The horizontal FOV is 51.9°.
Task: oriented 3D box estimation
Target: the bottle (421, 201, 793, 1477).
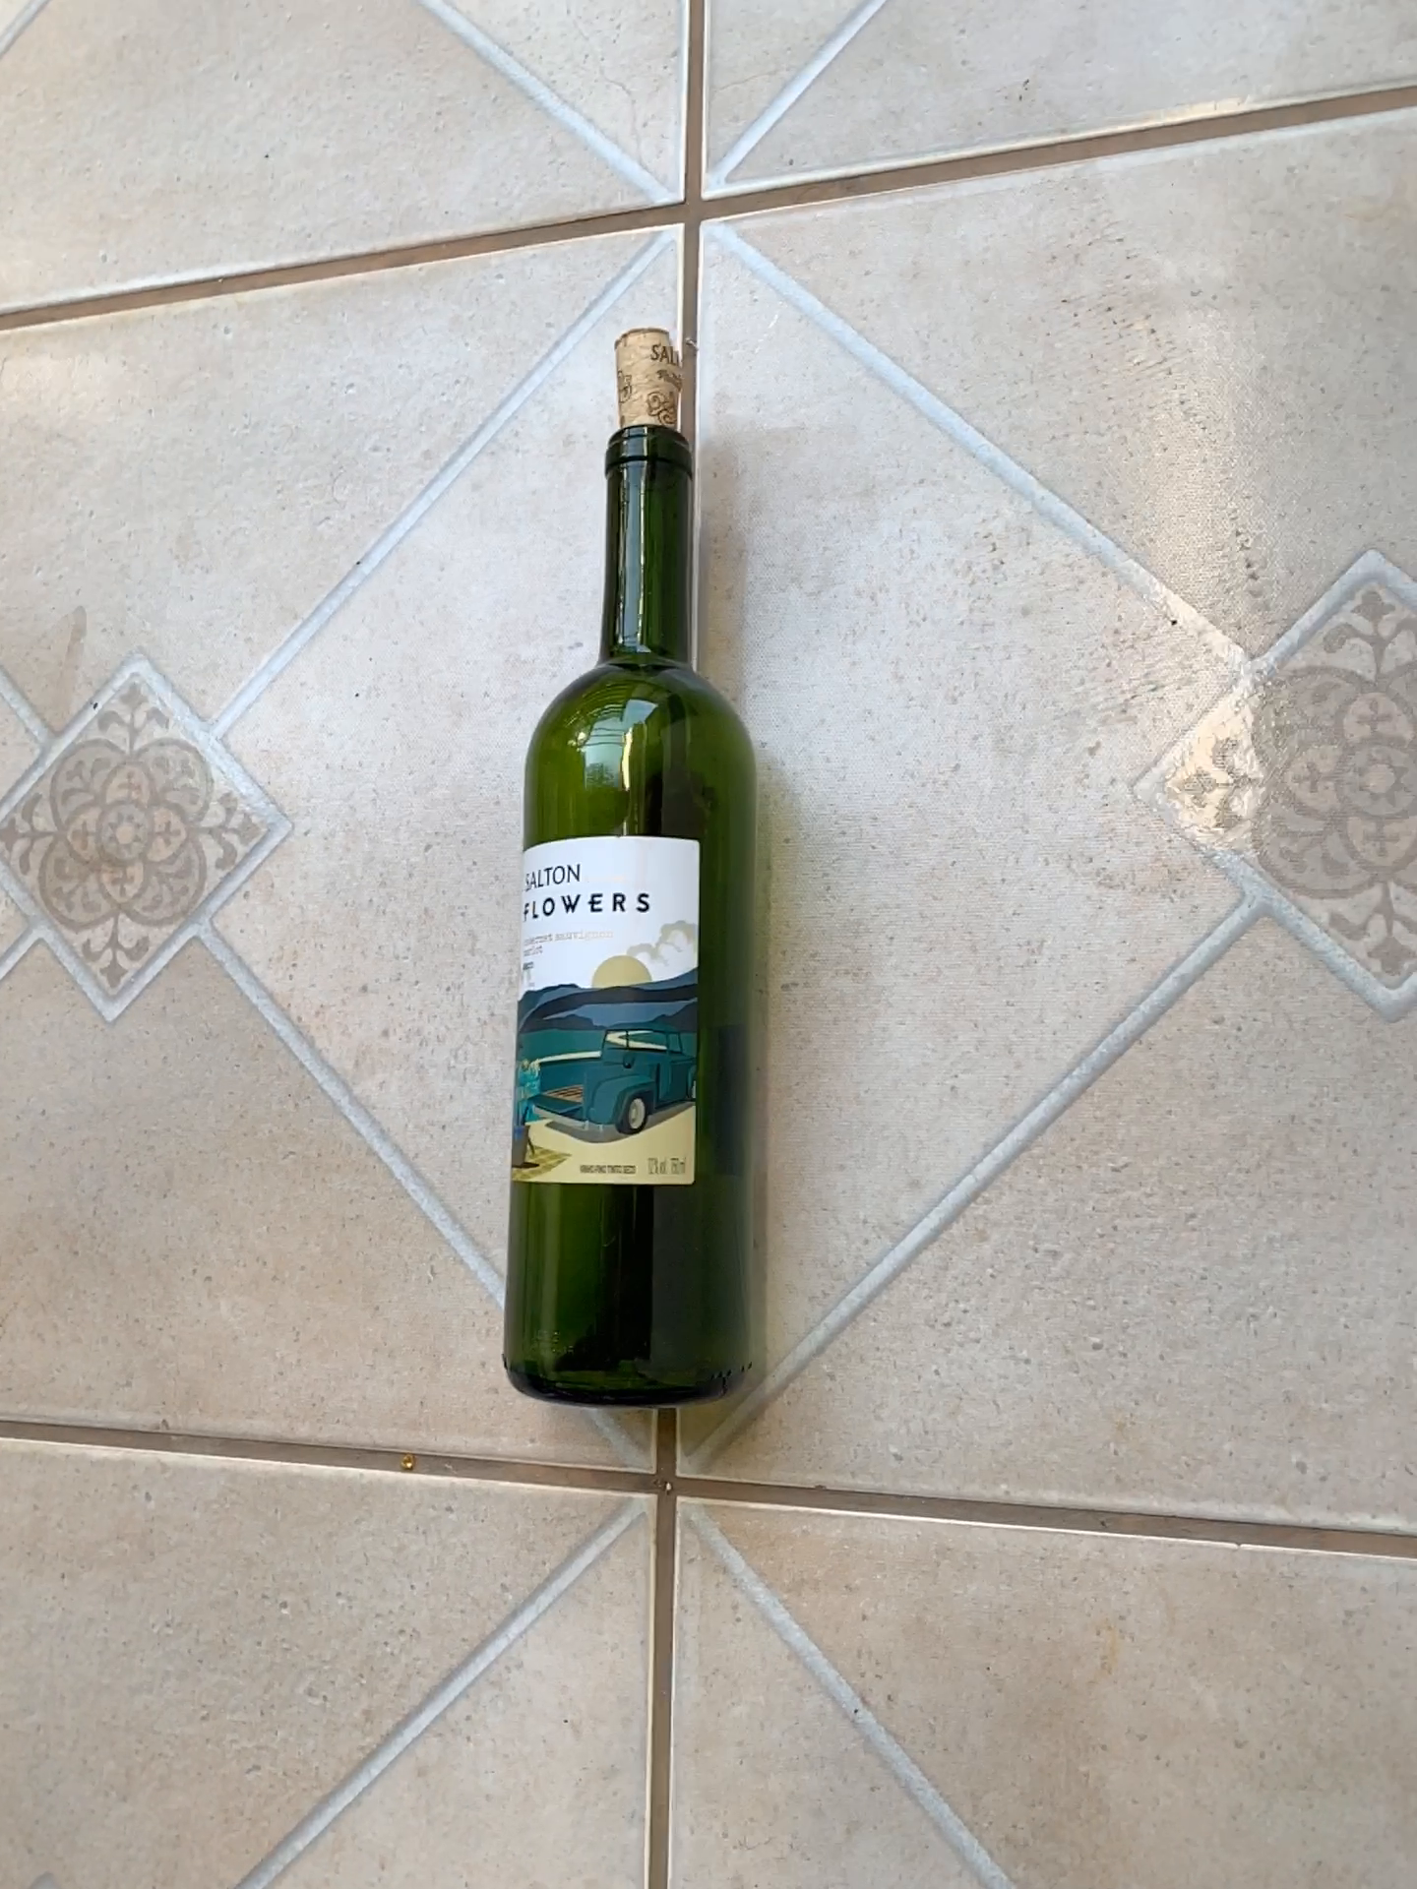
[{"bbox_3d":[-0.026,-0.031,0.445,0.080,0.080,0.350,-3,83,24],"label":"bottle"}]
